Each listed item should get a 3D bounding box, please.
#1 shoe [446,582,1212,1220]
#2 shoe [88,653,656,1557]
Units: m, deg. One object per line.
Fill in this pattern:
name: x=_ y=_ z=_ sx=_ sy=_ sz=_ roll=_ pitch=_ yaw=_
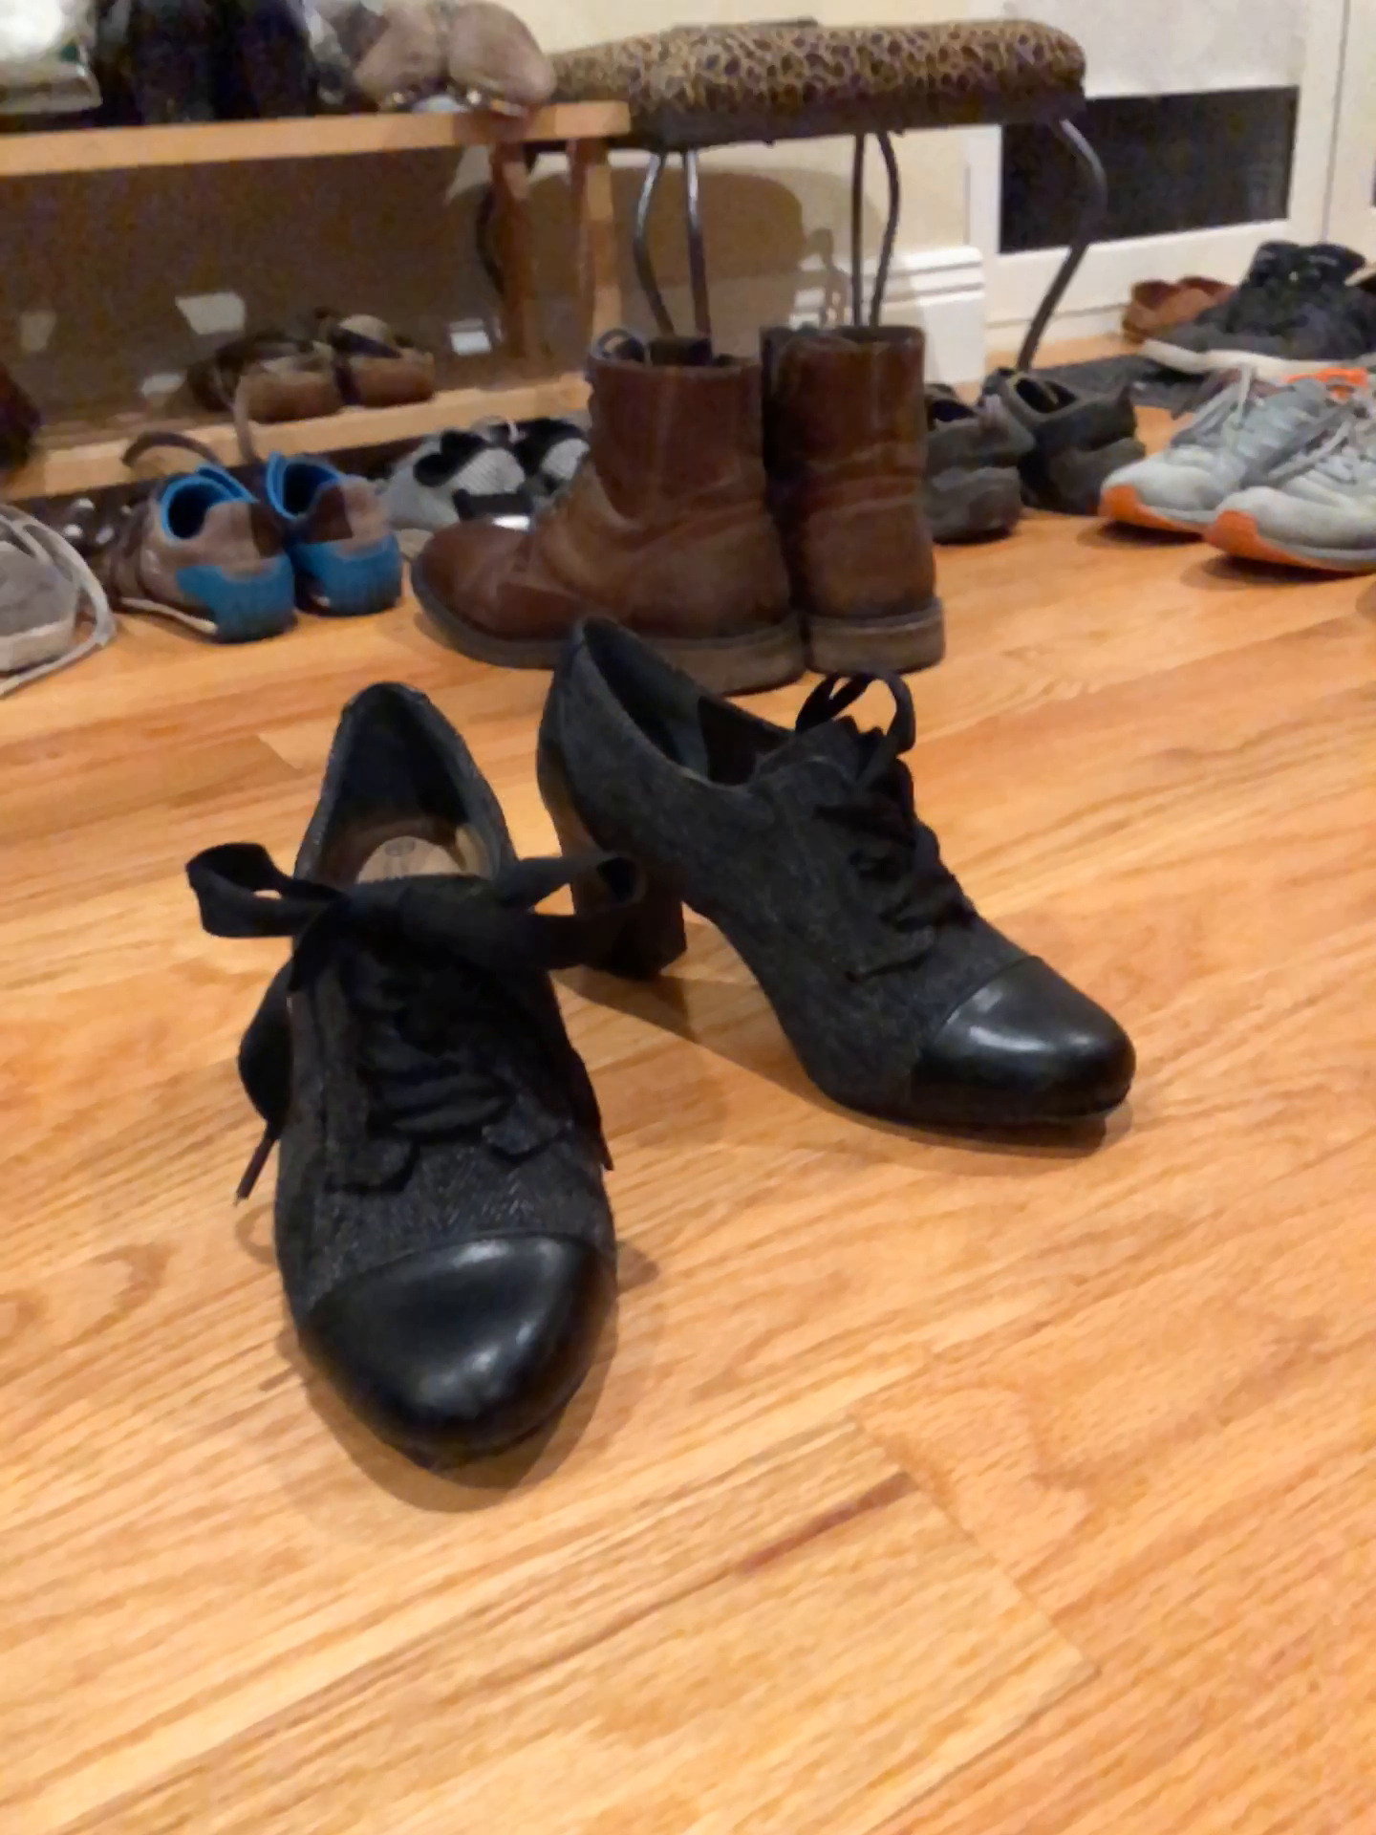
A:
shoe: x=0.035 y=-0.021 z=0.479 sx=0.223 sy=0.125 sz=0.088 roll=20 pitch=35 yaw=40
shoe: x=-0.078 y=0.026 z=0.401 sx=0.093 sy=0.125 sz=0.224 roll=-8 pitch=27 yaw=-8
